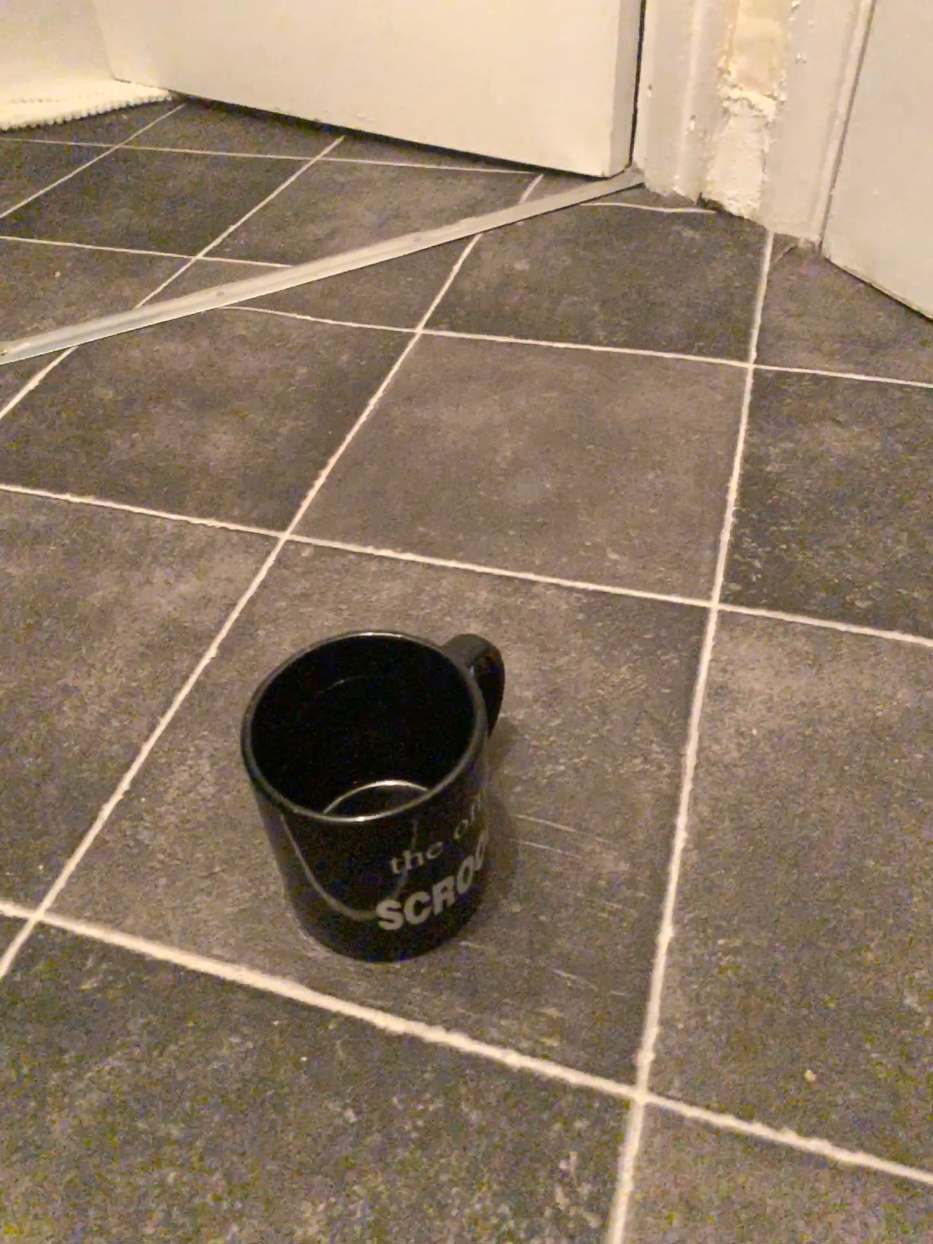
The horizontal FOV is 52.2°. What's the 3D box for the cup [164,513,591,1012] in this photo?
[{"bbox_3d":[-0.023,0.047,0.359,0.090,0.099,0.131,20,48,21],"label":"cup"}]
